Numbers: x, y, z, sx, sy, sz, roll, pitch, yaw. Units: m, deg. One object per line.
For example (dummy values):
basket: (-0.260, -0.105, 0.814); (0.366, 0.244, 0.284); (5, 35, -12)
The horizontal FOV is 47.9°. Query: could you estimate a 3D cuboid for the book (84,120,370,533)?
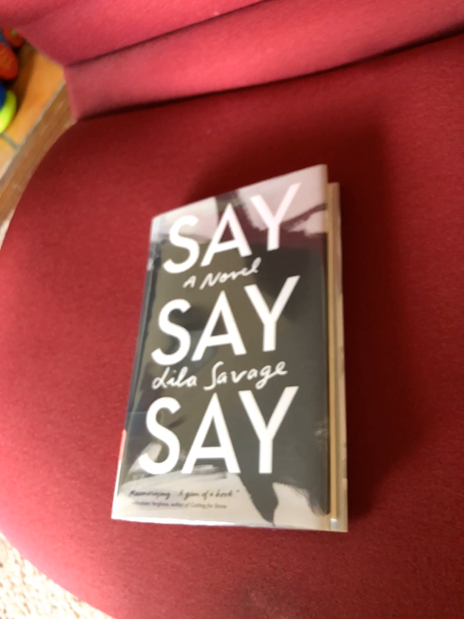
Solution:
book: (-0.007, 0.012, 0.307); (0.150, 0.040, 0.210); (-10, 69, 29)
